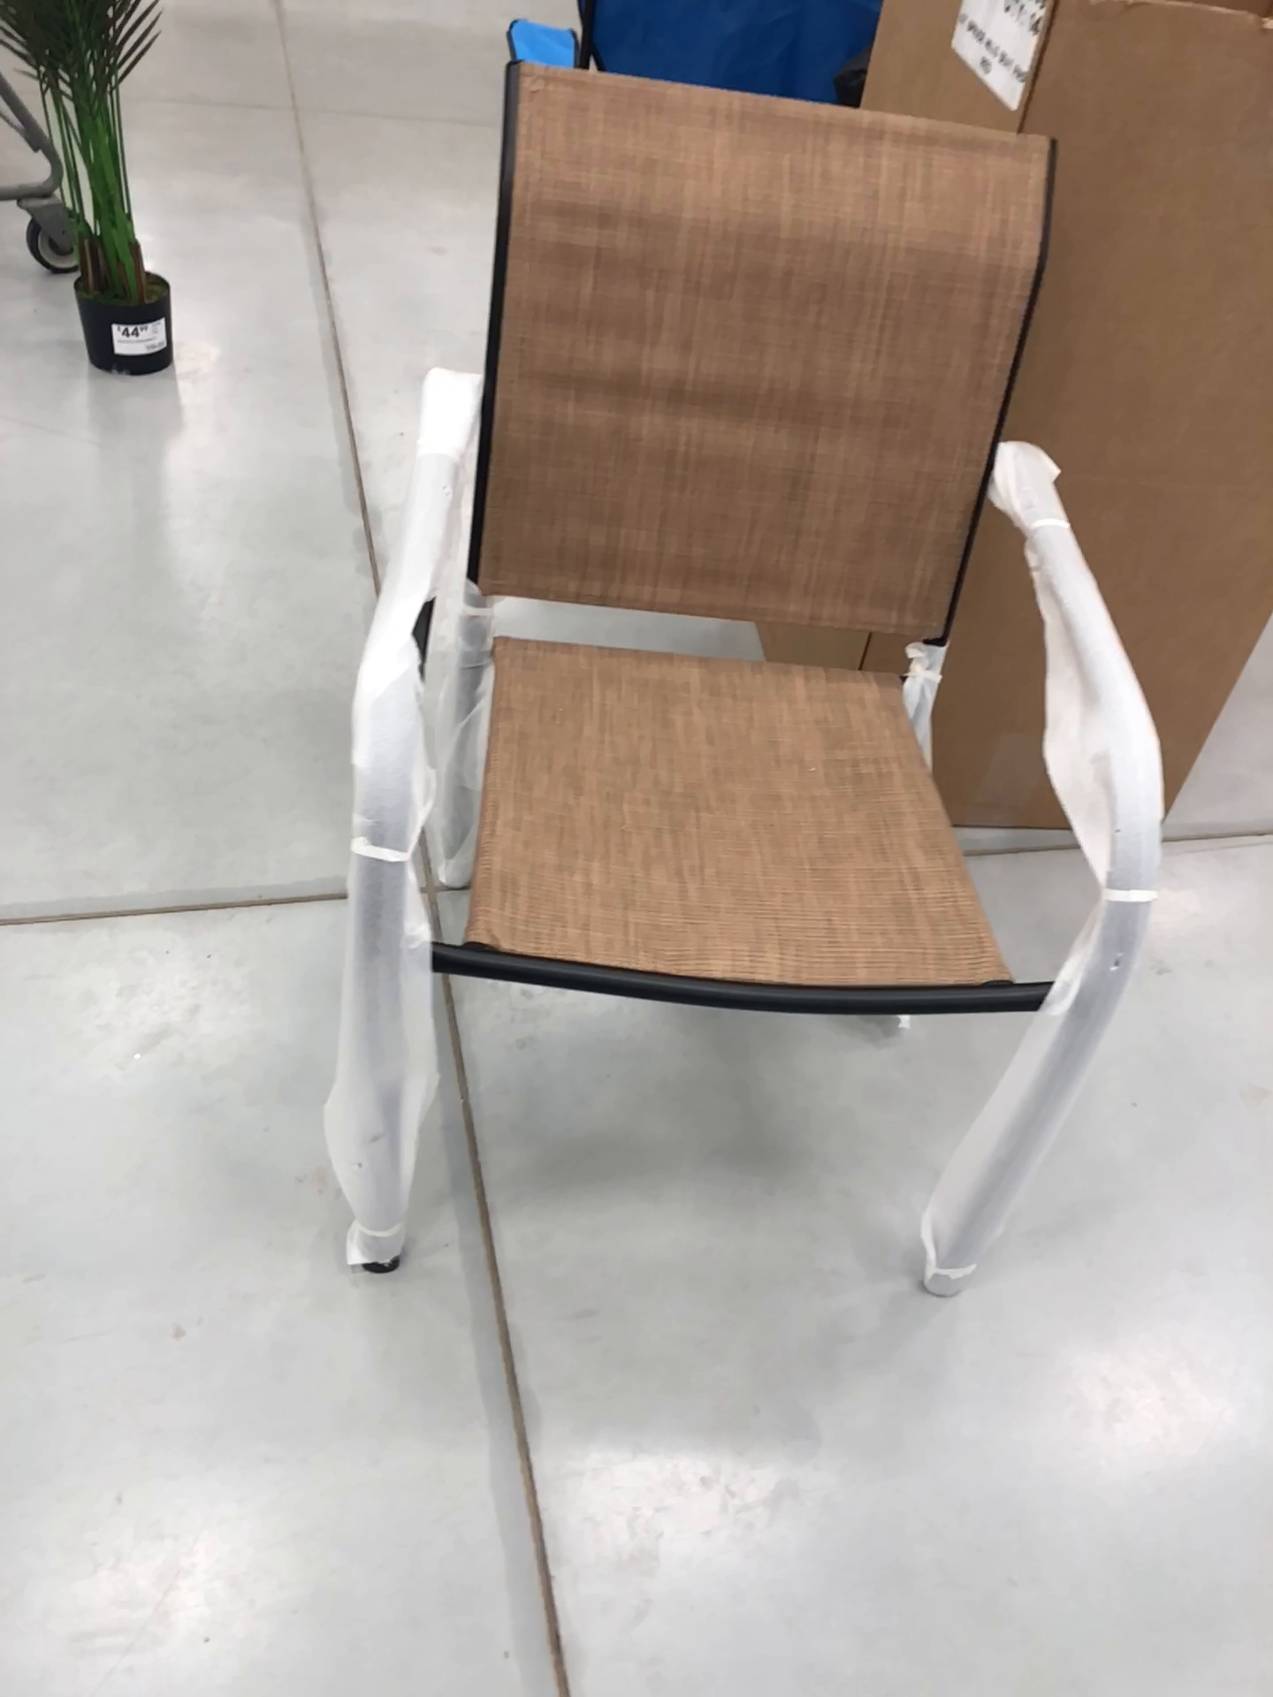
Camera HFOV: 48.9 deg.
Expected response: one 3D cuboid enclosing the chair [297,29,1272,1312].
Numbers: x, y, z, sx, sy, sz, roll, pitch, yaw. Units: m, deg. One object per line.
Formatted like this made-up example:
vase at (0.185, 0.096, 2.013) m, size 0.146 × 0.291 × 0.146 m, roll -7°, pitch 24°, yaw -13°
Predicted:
chair at (0.074, -0.110, 1.242) m, size 0.620 × 0.876 × 0.632 m, roll 4°, pitch 43°, yaw -7°
